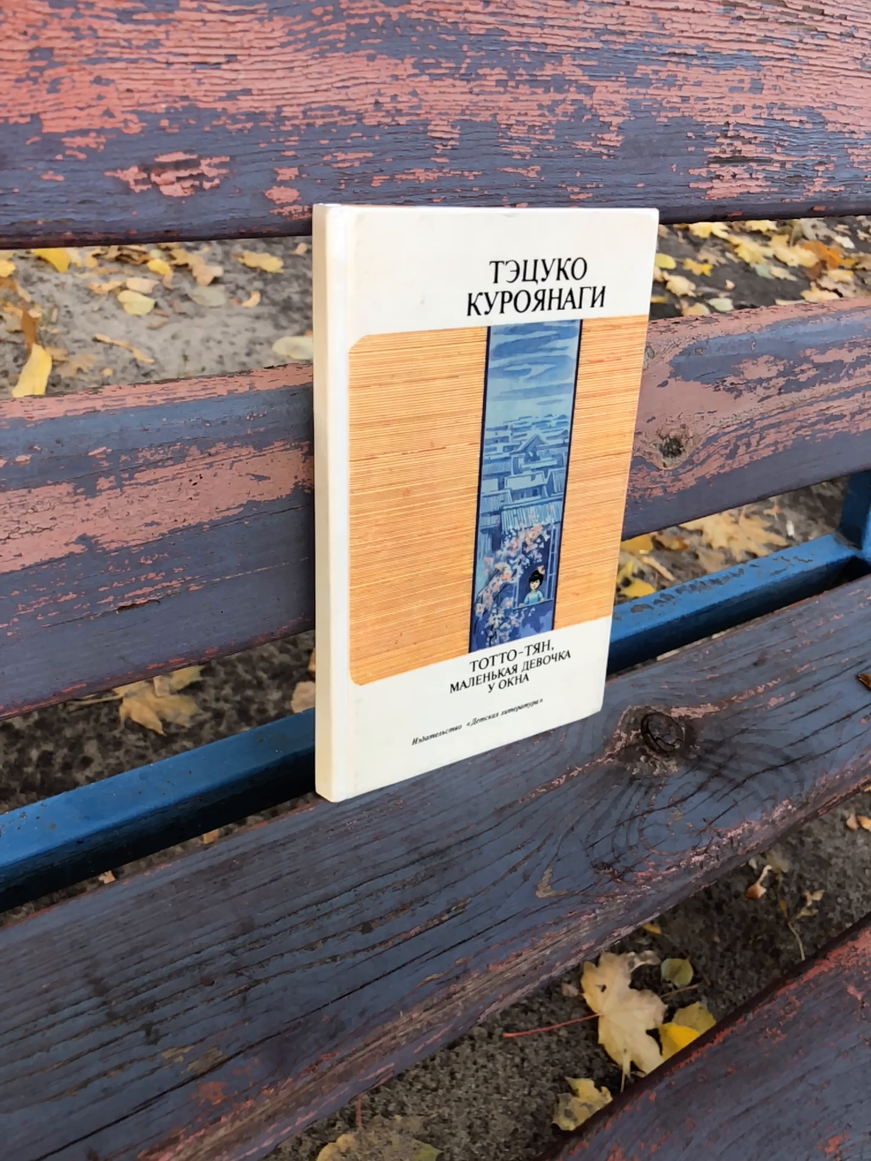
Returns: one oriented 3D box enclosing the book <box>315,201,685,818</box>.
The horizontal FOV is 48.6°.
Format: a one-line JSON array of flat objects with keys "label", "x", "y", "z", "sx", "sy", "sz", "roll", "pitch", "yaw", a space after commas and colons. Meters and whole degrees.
[{"label": "book", "x": 0.021, "y": -0.024, "z": 0.337, "sx": 0.134, "sy": 0.198, "sz": 0.016, "roll": -13, "pitch": 28, "yaw": -33}]
